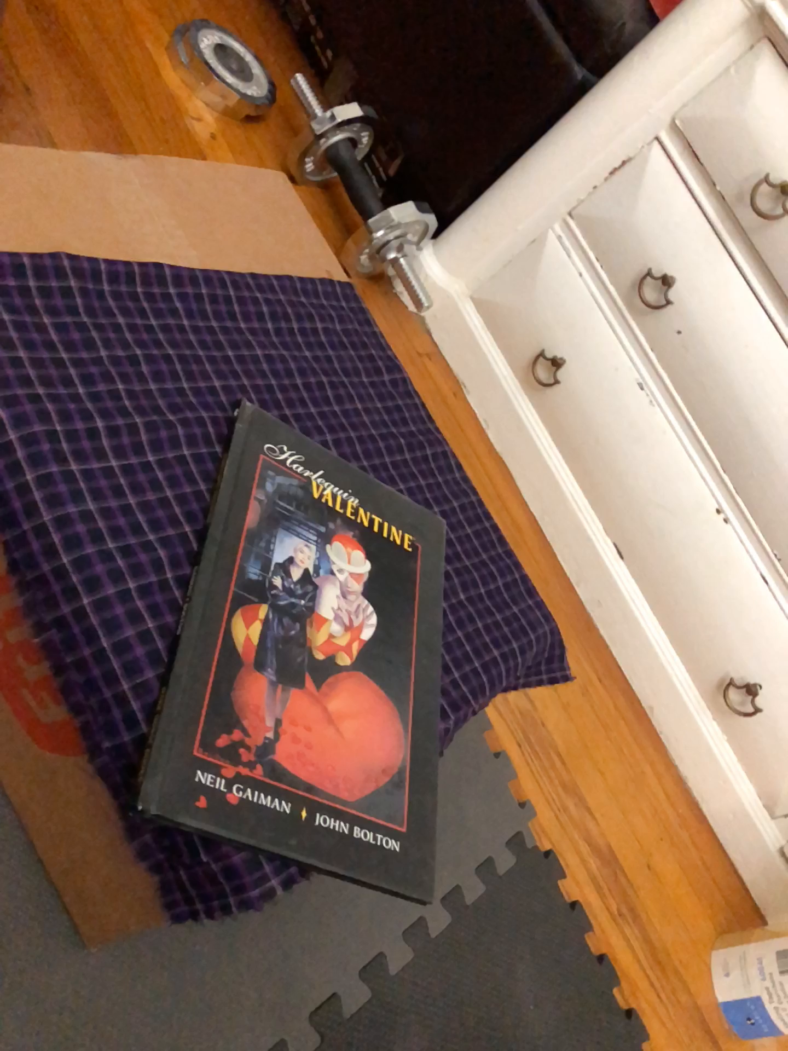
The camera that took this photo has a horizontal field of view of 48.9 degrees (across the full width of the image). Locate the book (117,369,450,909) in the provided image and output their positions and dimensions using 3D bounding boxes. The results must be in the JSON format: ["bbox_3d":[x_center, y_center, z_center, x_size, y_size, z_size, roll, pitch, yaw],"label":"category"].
[{"bbox_3d":[-0.040,0.054,0.506,0.180,0.020,0.281,30,44,-29],"label":"book"}]
